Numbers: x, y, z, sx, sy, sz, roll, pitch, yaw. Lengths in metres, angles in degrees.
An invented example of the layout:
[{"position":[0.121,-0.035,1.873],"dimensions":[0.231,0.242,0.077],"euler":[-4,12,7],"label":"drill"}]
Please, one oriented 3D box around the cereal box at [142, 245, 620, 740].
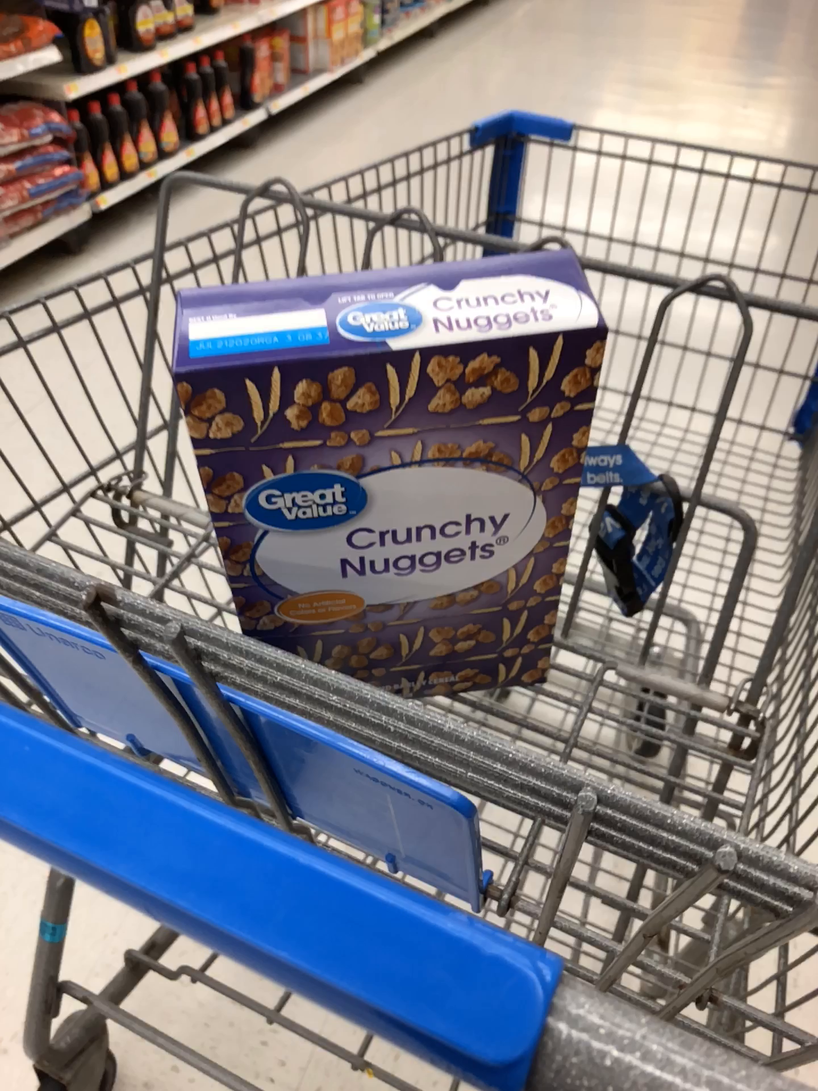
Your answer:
[{"position":[-0.014,-0.010,0.426],"dimensions":[0.170,0.239,0.060],"euler":[-7,48,-8],"label":"cereal box"}]
